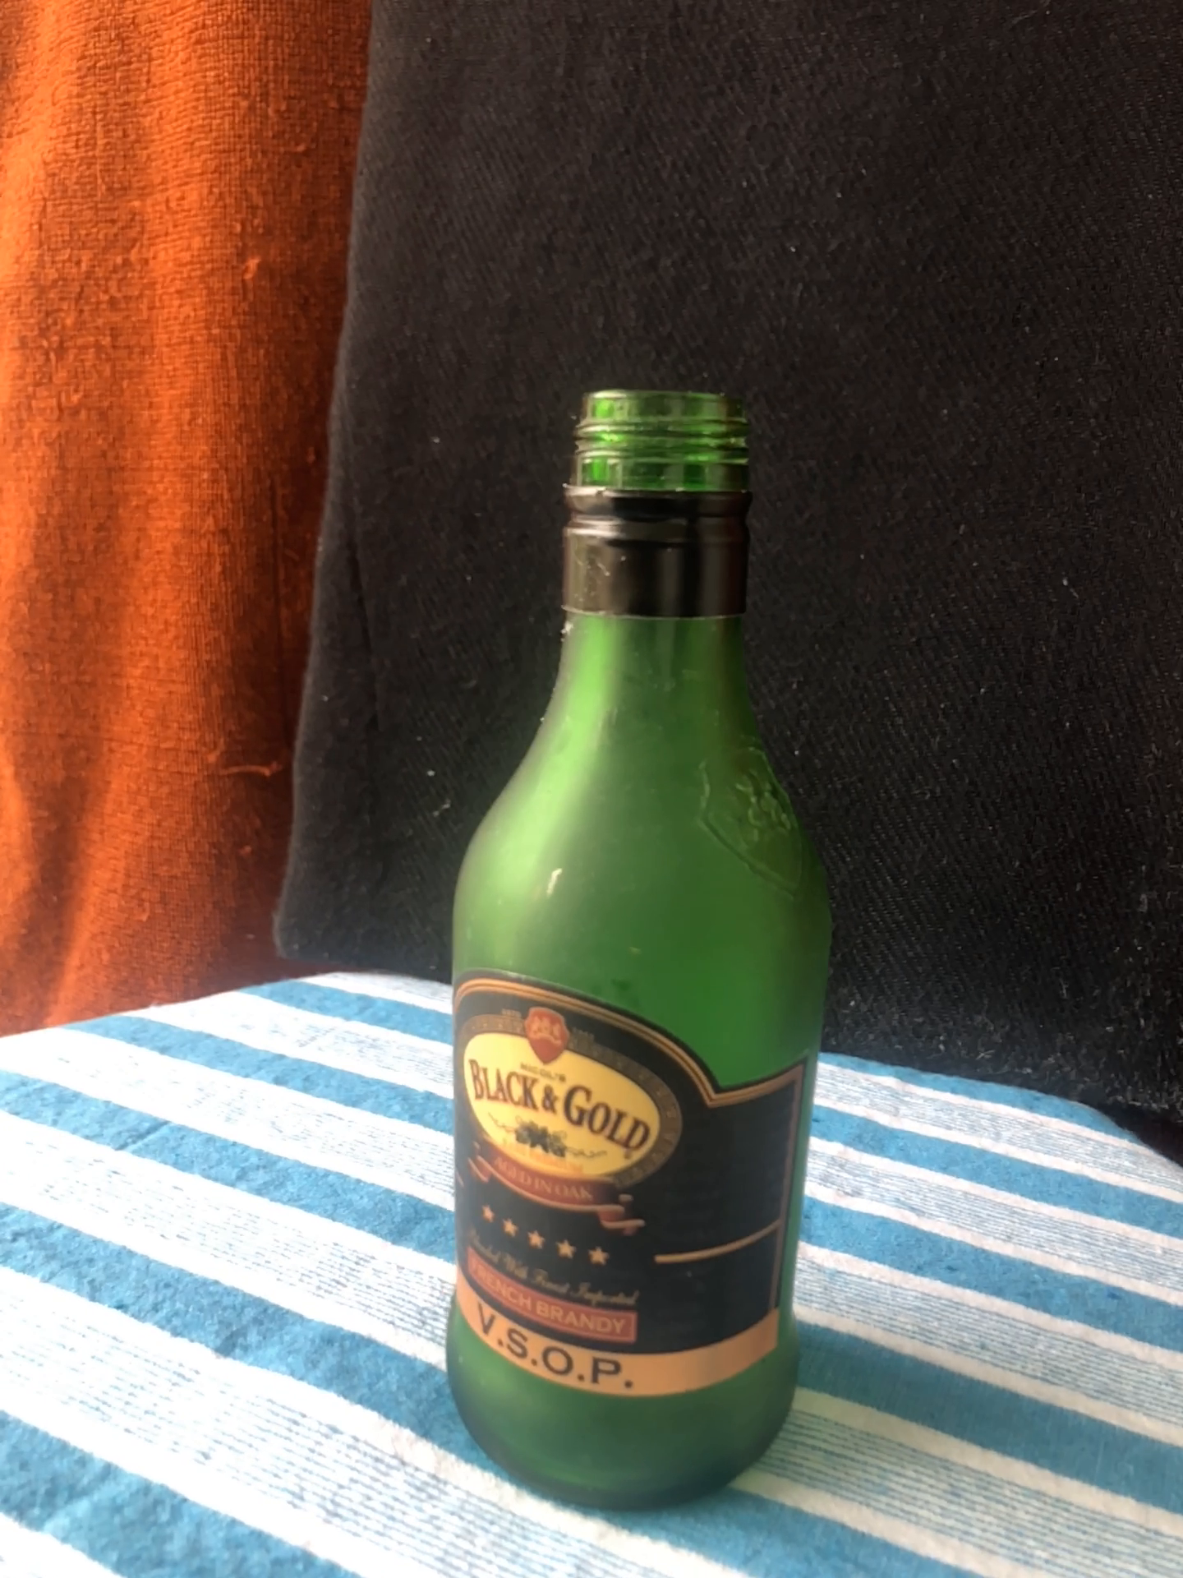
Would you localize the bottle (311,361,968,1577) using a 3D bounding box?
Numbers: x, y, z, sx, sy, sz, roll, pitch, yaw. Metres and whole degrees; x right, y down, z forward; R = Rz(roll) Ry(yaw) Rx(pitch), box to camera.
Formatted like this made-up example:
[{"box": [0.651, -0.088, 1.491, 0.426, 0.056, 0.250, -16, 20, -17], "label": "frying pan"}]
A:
[{"box": [0.006, 0.018, 0.182, 0.060, 0.140, 0.060, 4, 14, -1], "label": "bottle"}]
